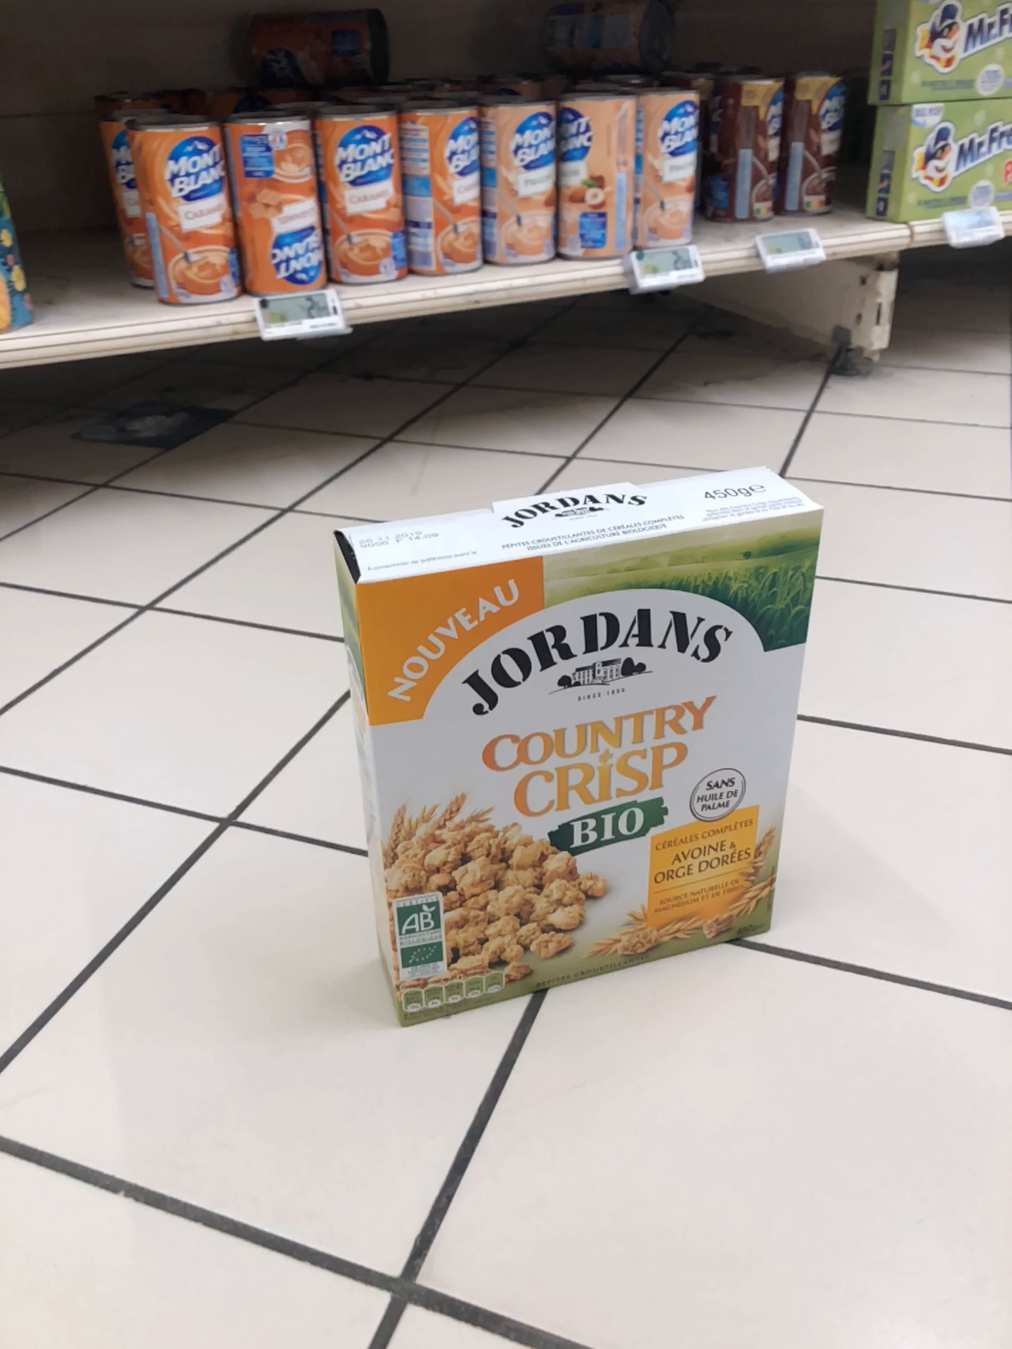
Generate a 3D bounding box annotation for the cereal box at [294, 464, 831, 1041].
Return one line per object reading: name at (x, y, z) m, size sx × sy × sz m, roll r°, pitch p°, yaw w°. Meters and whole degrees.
cereal box at (0.023, 0.034, 0.465) m, size 0.190 × 0.209 × 0.060 m, roll -10°, pitch 31°, yaw -14°
